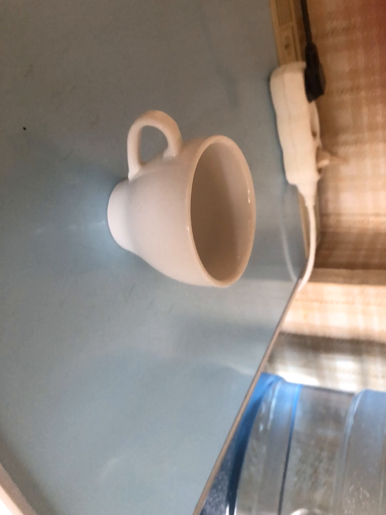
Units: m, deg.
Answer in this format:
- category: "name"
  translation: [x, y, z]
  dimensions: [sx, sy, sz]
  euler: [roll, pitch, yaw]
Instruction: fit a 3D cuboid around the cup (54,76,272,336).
- category: "cup"
  translation: [-0.005, -0.026, 0.254]
  dimensions: [0.106, 0.057, 0.097]
  euler: [-3, 93, -60]
